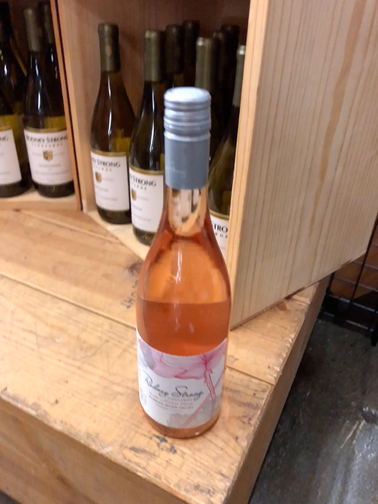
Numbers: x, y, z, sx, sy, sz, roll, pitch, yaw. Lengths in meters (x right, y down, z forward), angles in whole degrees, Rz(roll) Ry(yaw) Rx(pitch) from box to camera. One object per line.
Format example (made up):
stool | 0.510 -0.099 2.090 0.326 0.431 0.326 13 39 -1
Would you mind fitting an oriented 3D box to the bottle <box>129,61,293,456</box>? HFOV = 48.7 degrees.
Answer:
bottle | 0.012 0.024 0.333 0.080 0.309 0.082 2 33 -1
